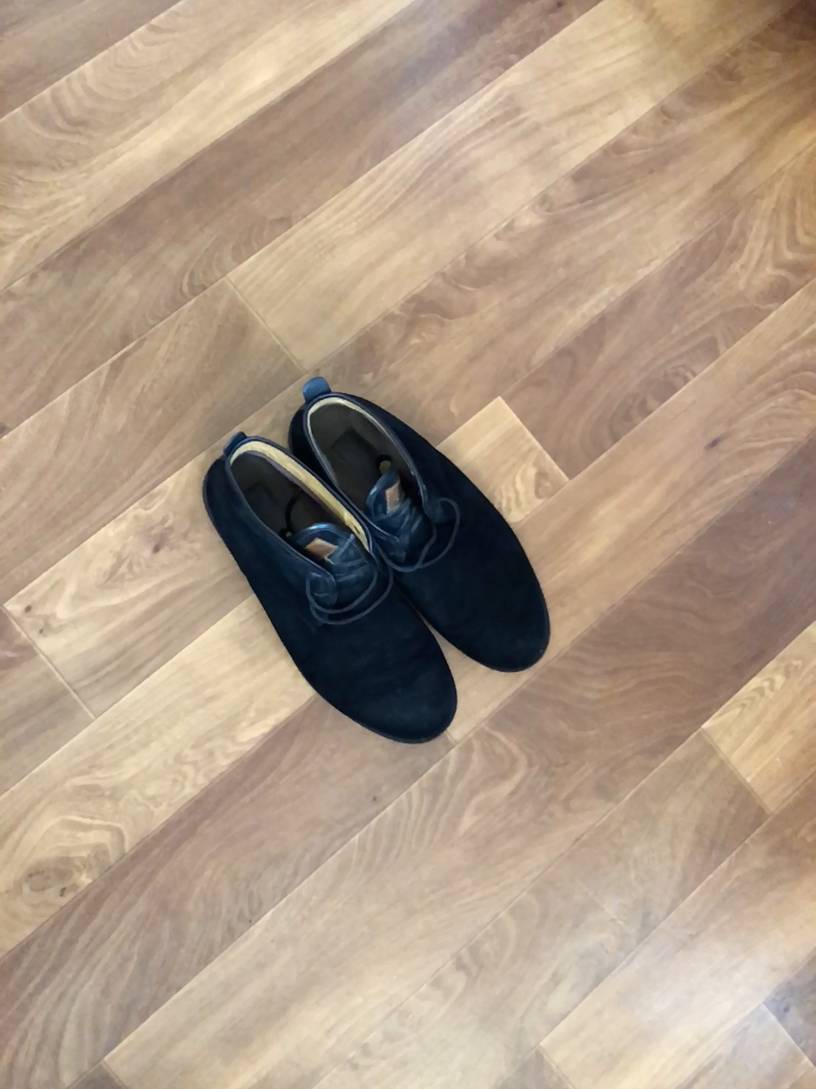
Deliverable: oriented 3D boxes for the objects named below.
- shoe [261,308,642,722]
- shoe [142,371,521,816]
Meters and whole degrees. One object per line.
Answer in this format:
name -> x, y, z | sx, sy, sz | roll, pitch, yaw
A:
shoe -> 0.024, -0.016, 0.694 | 0.110, 0.130, 0.290 | -40, 90, -9
shoe -> -0.059, 0.037, 0.669 | 0.110, 0.130, 0.290 | -35, 90, -9
